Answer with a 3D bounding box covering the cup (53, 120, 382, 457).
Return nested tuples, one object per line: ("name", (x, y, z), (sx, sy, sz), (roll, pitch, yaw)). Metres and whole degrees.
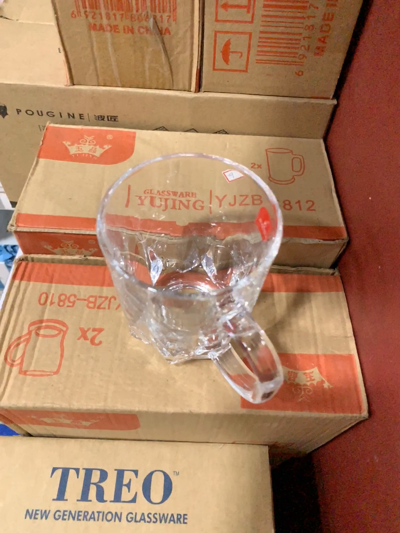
("cup", (0.001, 0.007, 0.174), (0.069, 0.072, 0.100), (-30, 61, -21))
